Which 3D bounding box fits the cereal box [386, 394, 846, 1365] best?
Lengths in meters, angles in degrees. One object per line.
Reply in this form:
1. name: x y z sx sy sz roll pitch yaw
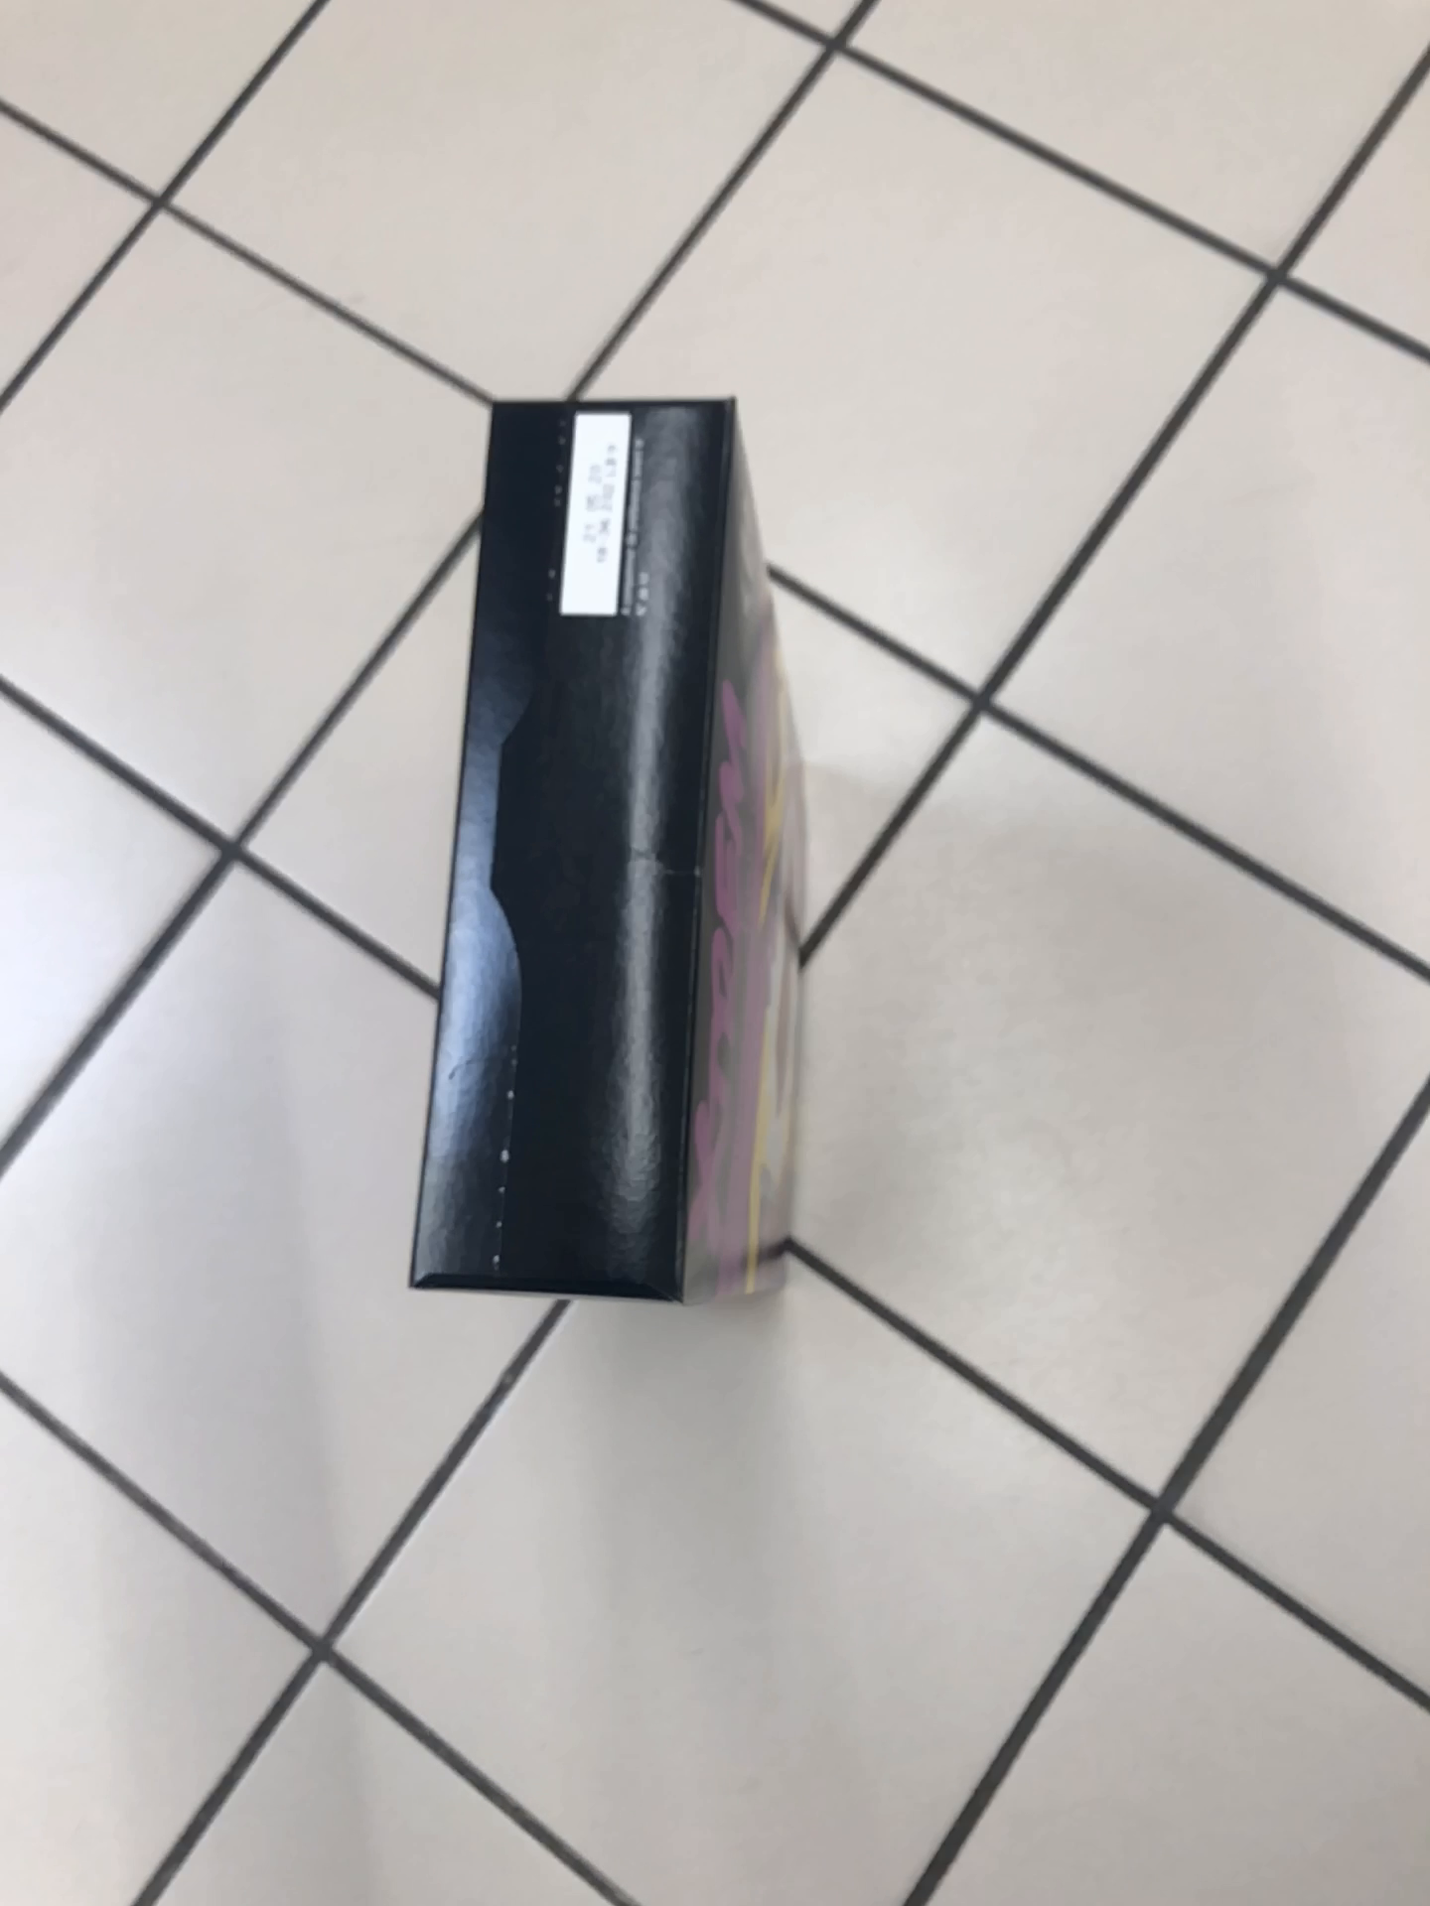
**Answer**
1. cereal box: -0.008 0.002 0.439 0.070 0.240 0.200 2 79 7
